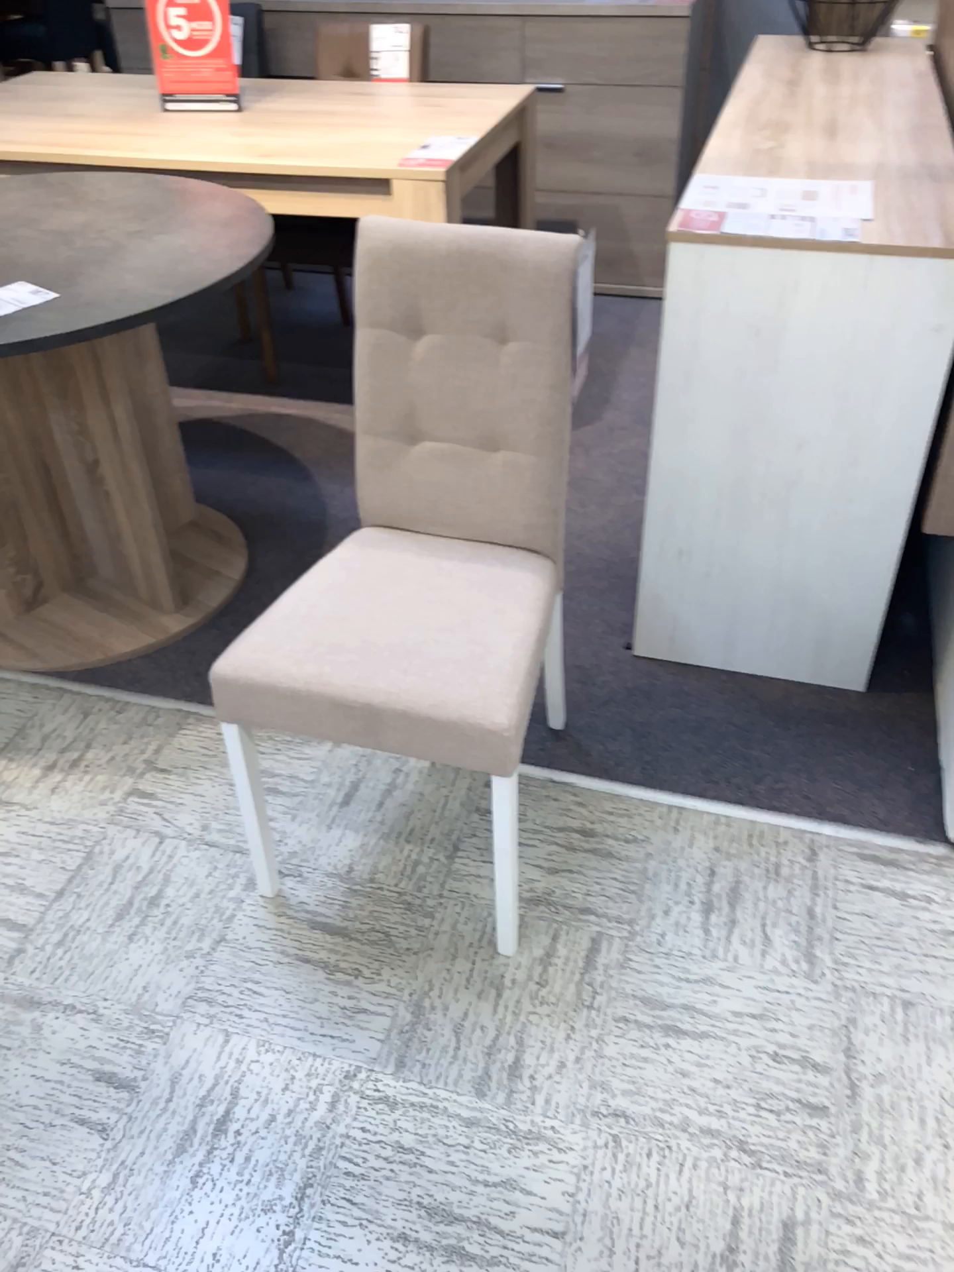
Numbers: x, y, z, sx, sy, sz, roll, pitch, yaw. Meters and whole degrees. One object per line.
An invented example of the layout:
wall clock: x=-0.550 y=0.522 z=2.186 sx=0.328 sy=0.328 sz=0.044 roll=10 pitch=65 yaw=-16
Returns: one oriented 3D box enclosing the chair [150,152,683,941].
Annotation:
chair: x=-0.015 y=-0.120 z=1.403 sx=0.430 sy=0.855 sz=0.534 roll=9 pitch=38 yaw=15
